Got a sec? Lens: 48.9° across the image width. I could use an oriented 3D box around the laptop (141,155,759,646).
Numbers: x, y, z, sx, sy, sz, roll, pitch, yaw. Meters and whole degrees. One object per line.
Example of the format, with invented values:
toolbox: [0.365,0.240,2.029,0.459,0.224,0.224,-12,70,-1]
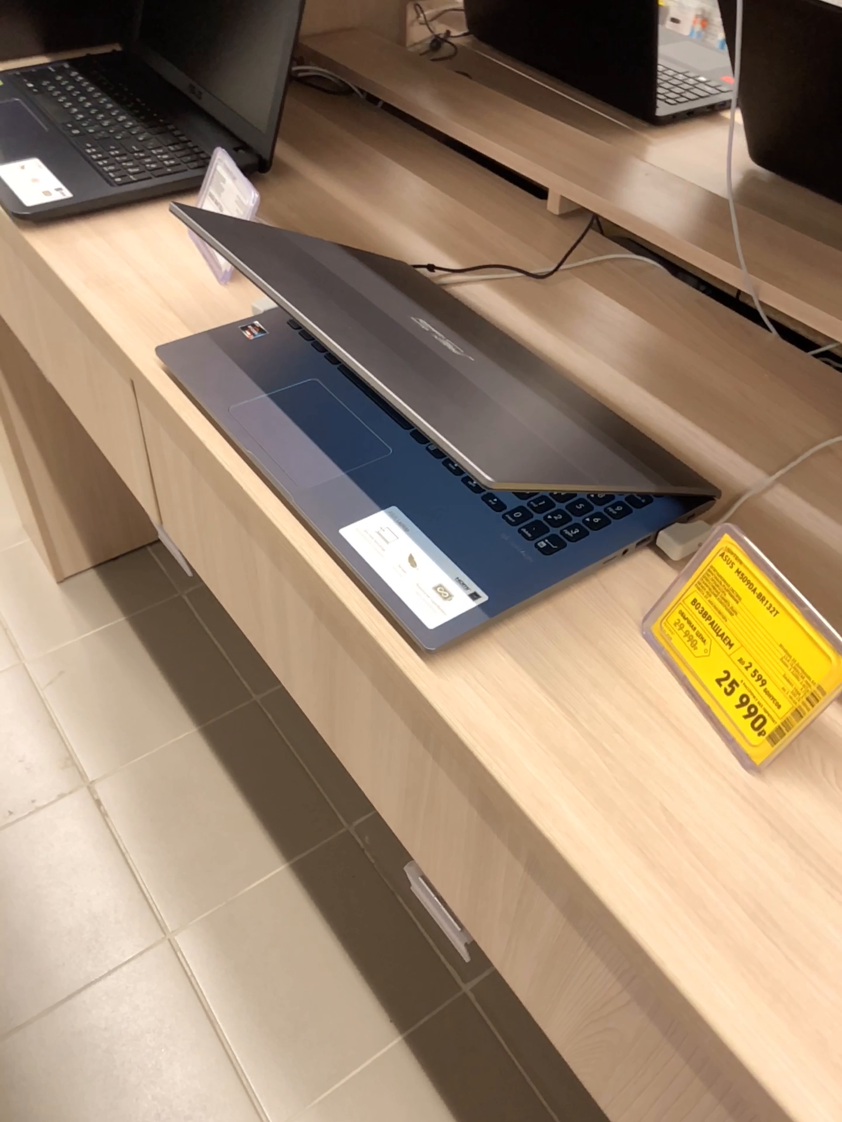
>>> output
laptop: [0.000,-0.138,0.624,0.233,0.111,0.350,-24,50,-26]
